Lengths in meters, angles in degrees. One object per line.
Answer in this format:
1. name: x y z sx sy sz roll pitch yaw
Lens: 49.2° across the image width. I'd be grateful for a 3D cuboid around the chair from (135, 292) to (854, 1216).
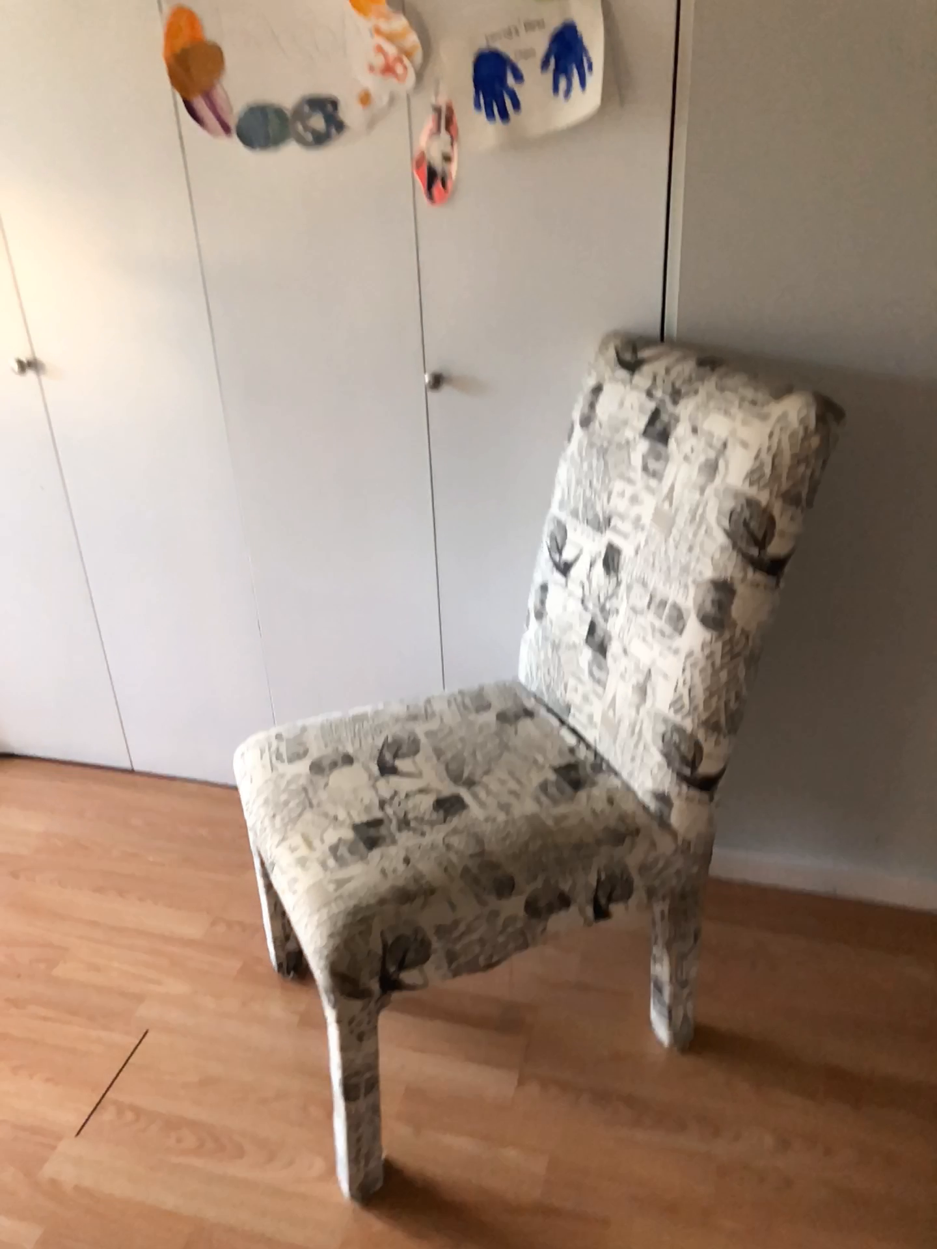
1. chair: 0.015 0.135 1.406 0.670 0.997 0.522 -13 29 -19
